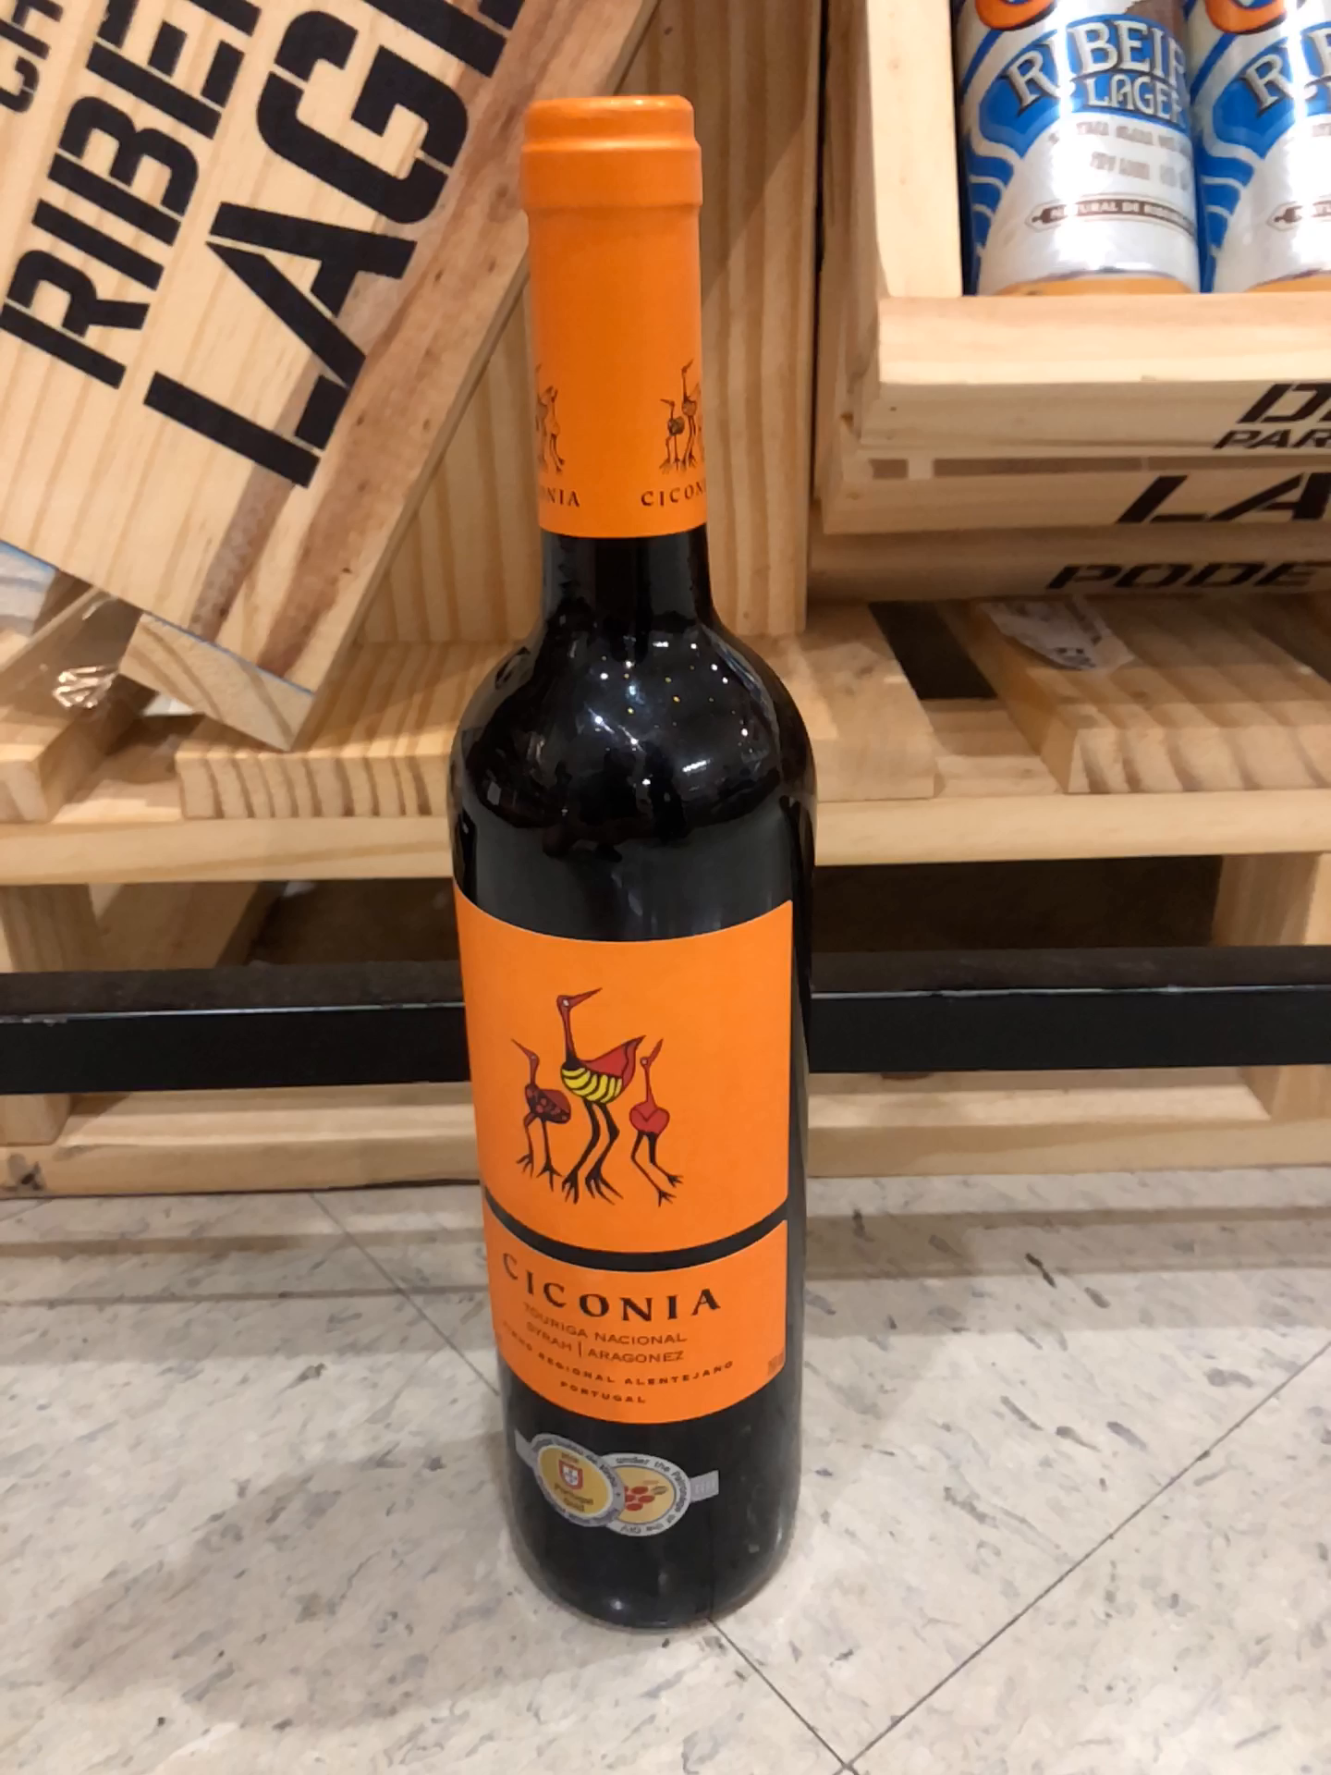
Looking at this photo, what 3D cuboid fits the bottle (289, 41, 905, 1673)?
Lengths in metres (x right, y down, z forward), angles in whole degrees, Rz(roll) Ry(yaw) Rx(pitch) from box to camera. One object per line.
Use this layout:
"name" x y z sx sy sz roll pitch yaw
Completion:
"bottle" -0.004 0.013 0.302 0.080 0.318 0.070 6 27 14
